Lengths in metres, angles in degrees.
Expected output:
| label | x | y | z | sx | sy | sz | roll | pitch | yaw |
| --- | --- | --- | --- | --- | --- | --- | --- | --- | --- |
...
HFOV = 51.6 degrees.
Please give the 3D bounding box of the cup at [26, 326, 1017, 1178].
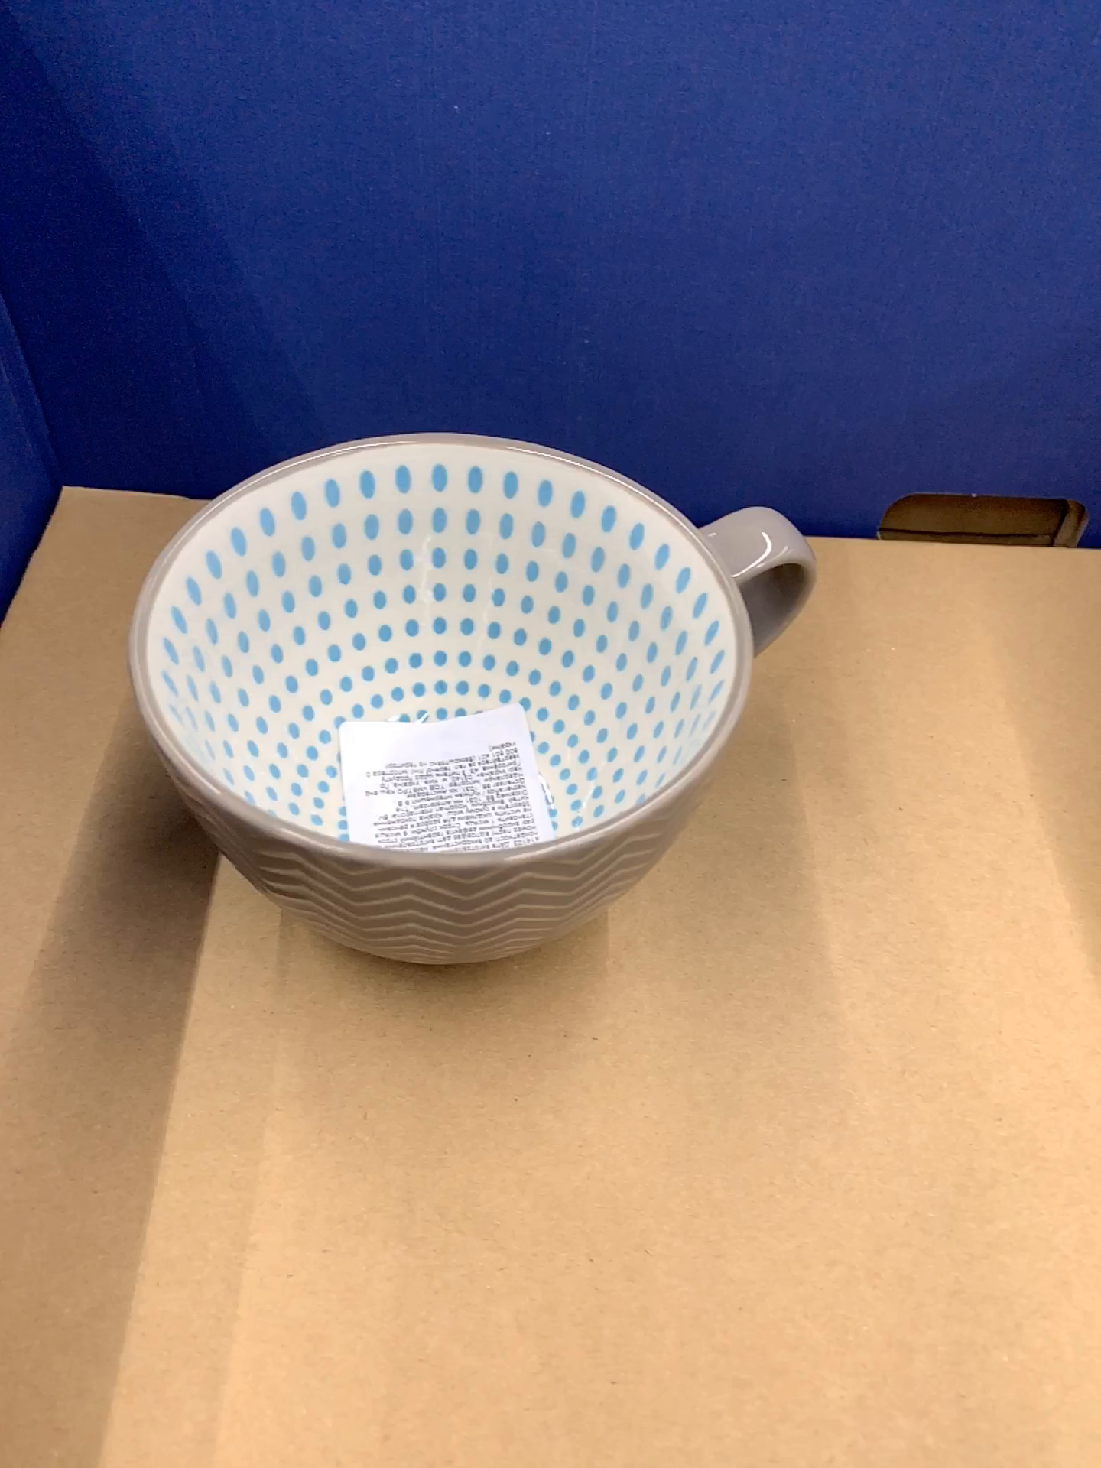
| label | x | y | z | sx | sy | sz | roll | pitch | yaw |
| --- | --- | --- | --- | --- | --- | --- | --- | --- | --- |
| cup | -0.006 | -0.011 | 0.236 | 0.143 | 0.061 | 0.119 | -29 | 56 | -26 |
